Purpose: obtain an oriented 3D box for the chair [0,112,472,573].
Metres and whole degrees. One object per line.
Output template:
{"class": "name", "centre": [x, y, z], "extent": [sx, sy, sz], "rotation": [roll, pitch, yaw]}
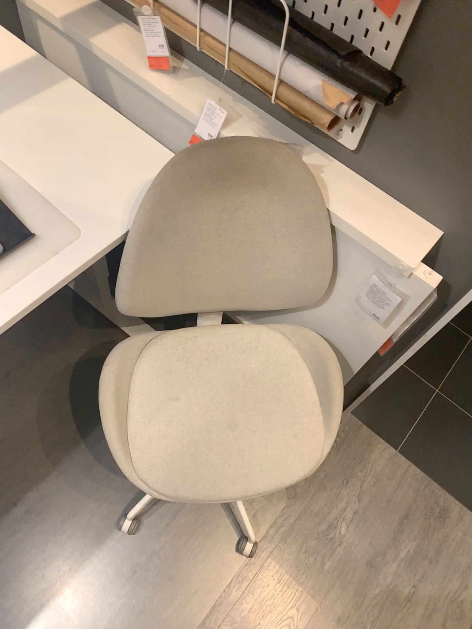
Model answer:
{"class": "chair", "centre": [-0.018, 0.200, 1.011], "extent": [0.610, 0.939, 0.591], "rotation": [3, 61, -6]}
